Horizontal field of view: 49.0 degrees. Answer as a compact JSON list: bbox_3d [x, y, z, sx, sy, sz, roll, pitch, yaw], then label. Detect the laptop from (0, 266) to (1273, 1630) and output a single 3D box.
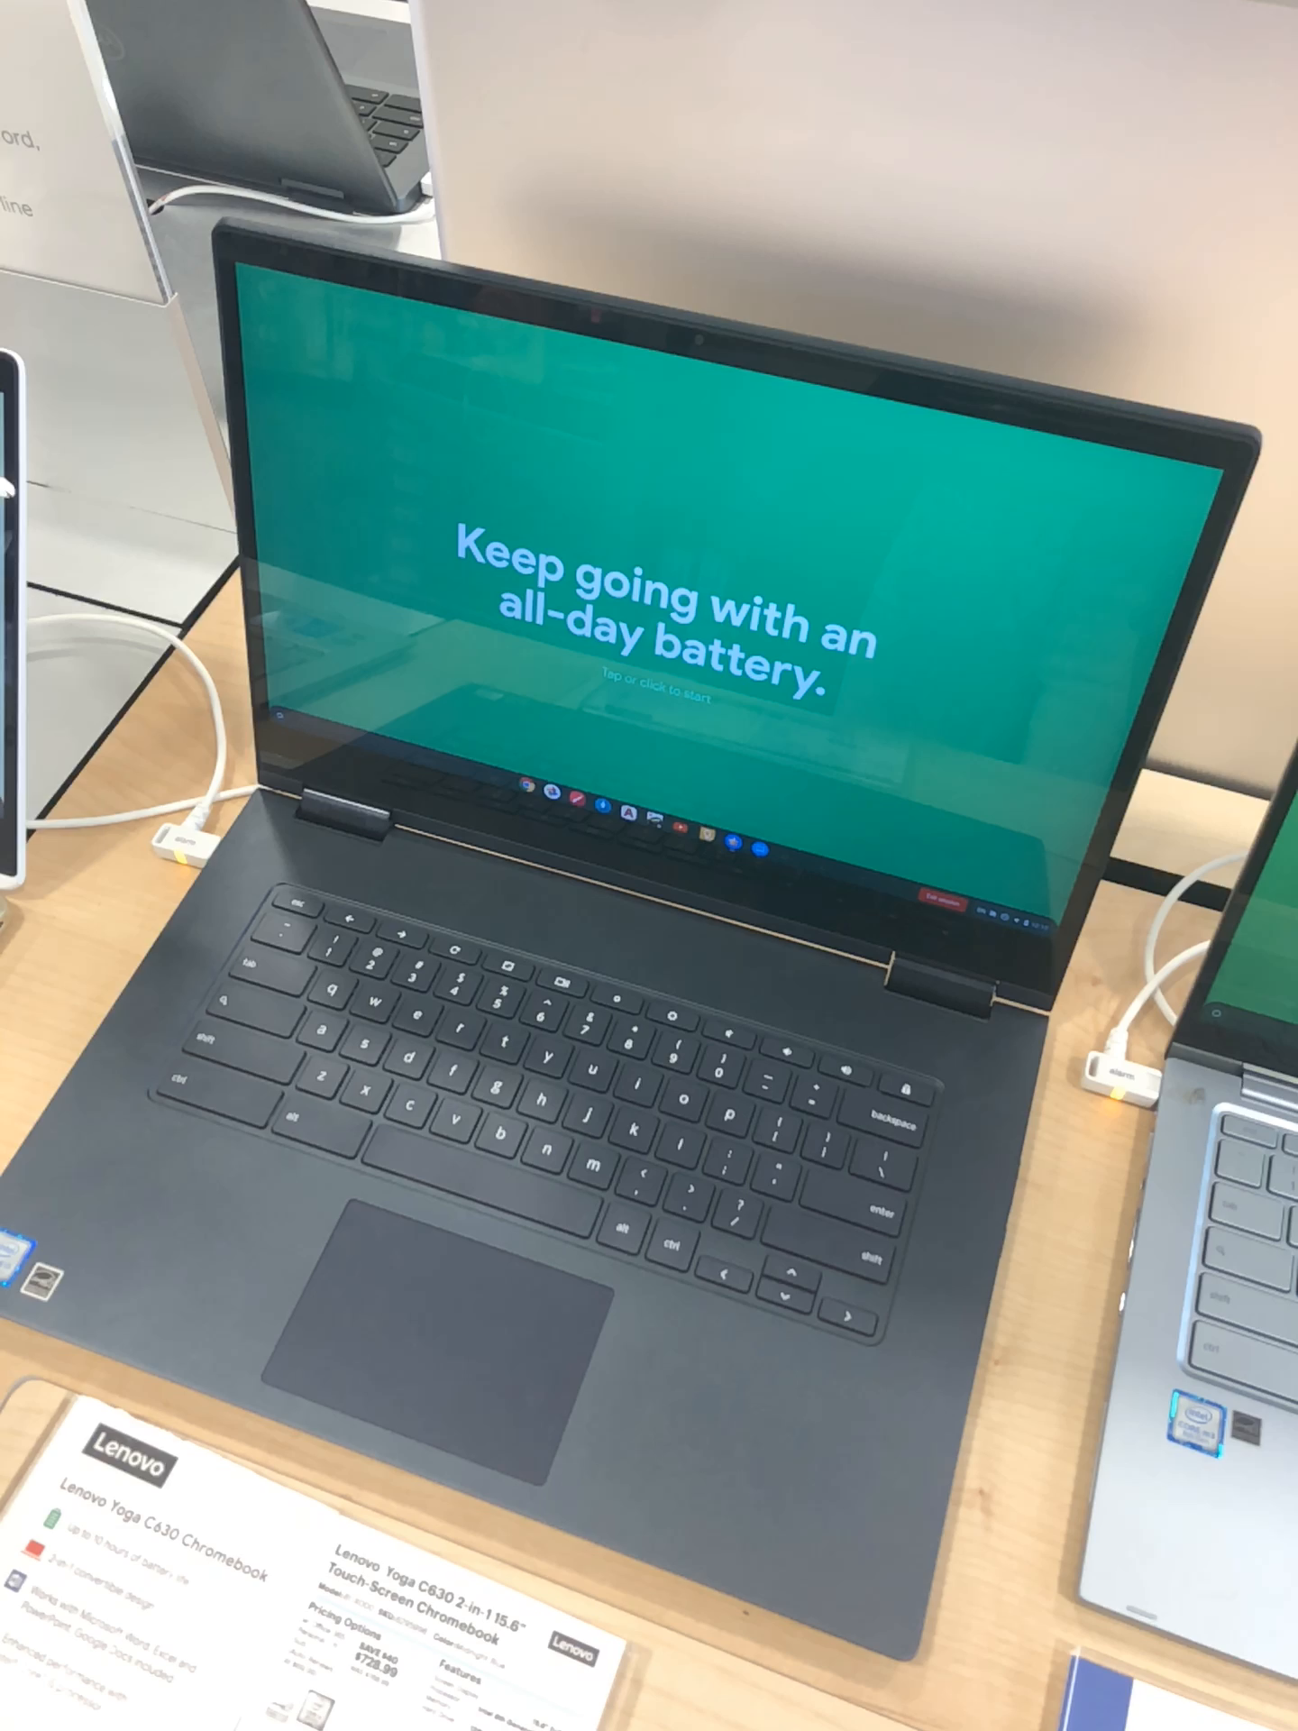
[{"bbox_3d":[-0.033,0.013,0.458,0.343,0.231,0.293,15,54,12],"label":"laptop"}]
